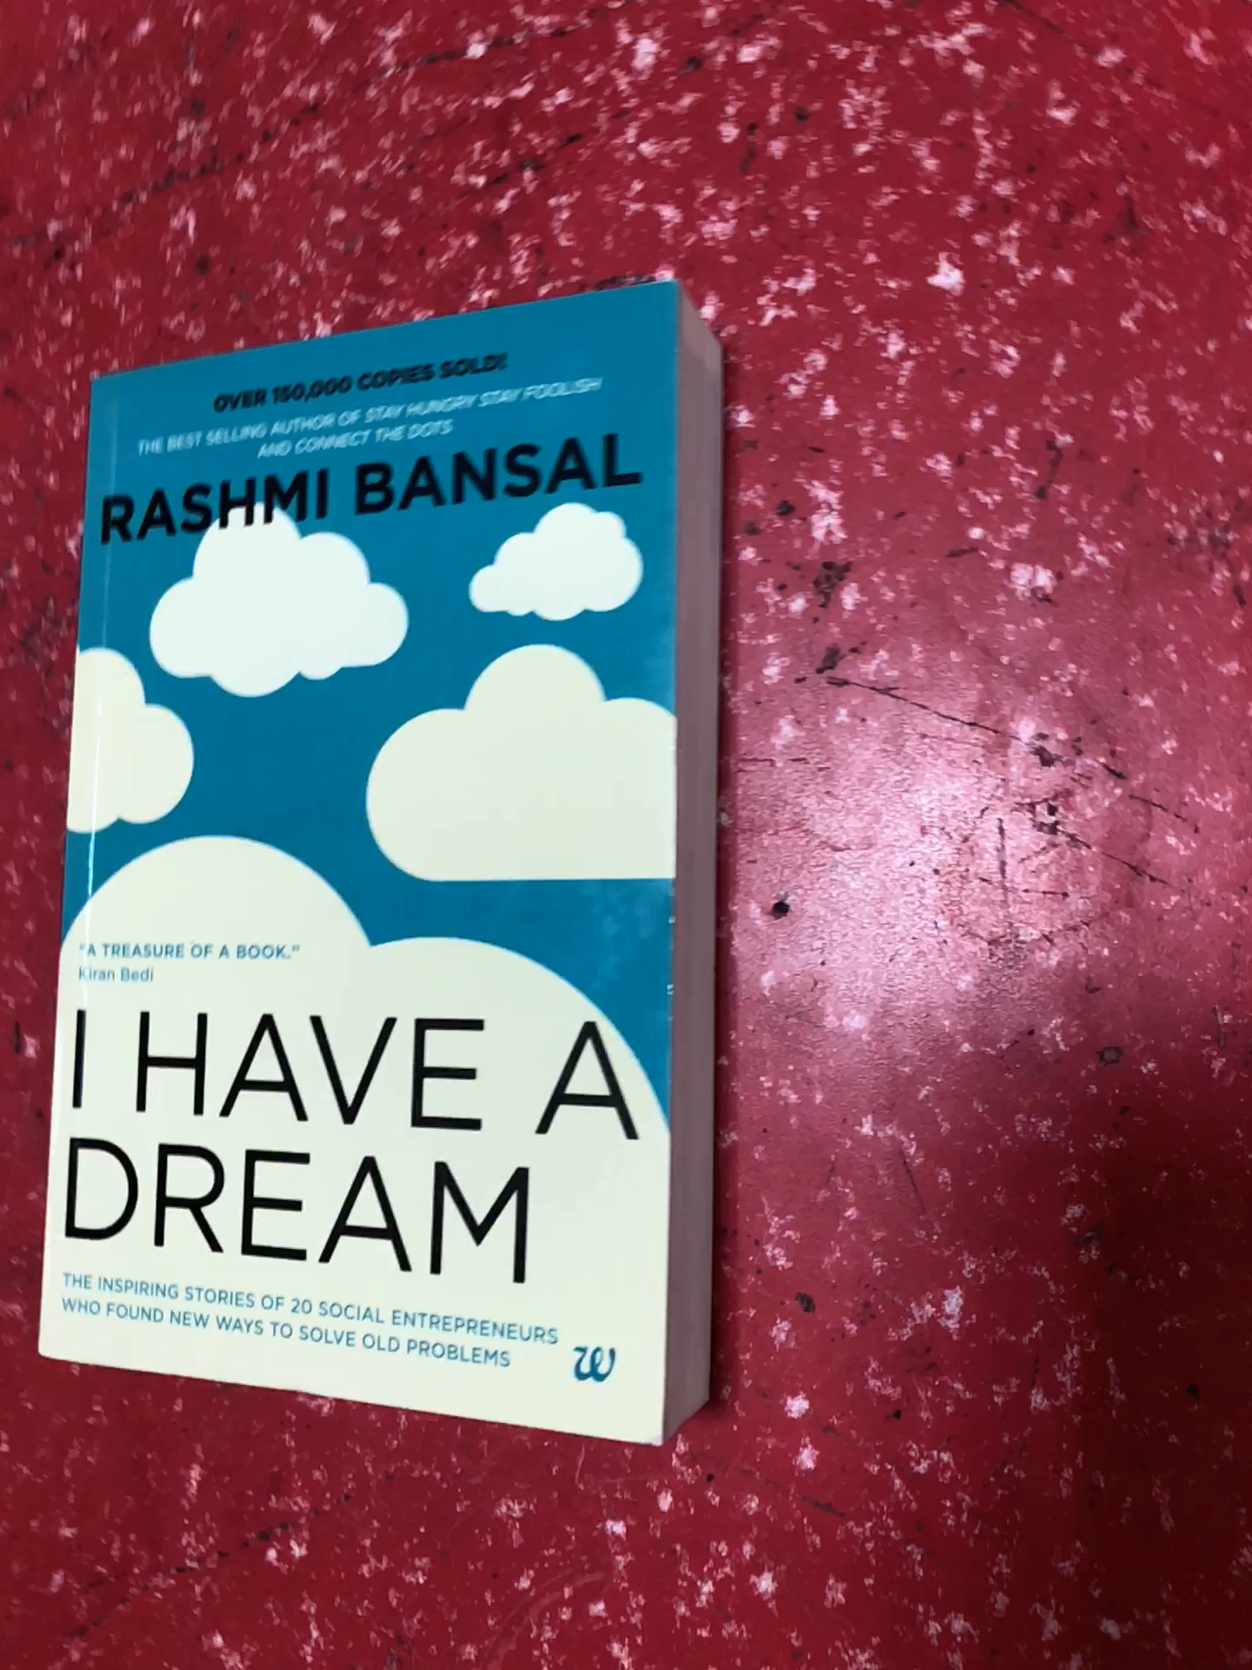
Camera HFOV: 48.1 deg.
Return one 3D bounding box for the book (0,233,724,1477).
[{"bbox_3d":[-0.049,0.002,0.261,0.130,0.030,0.200,-2,83,20],"label":"book"}]
